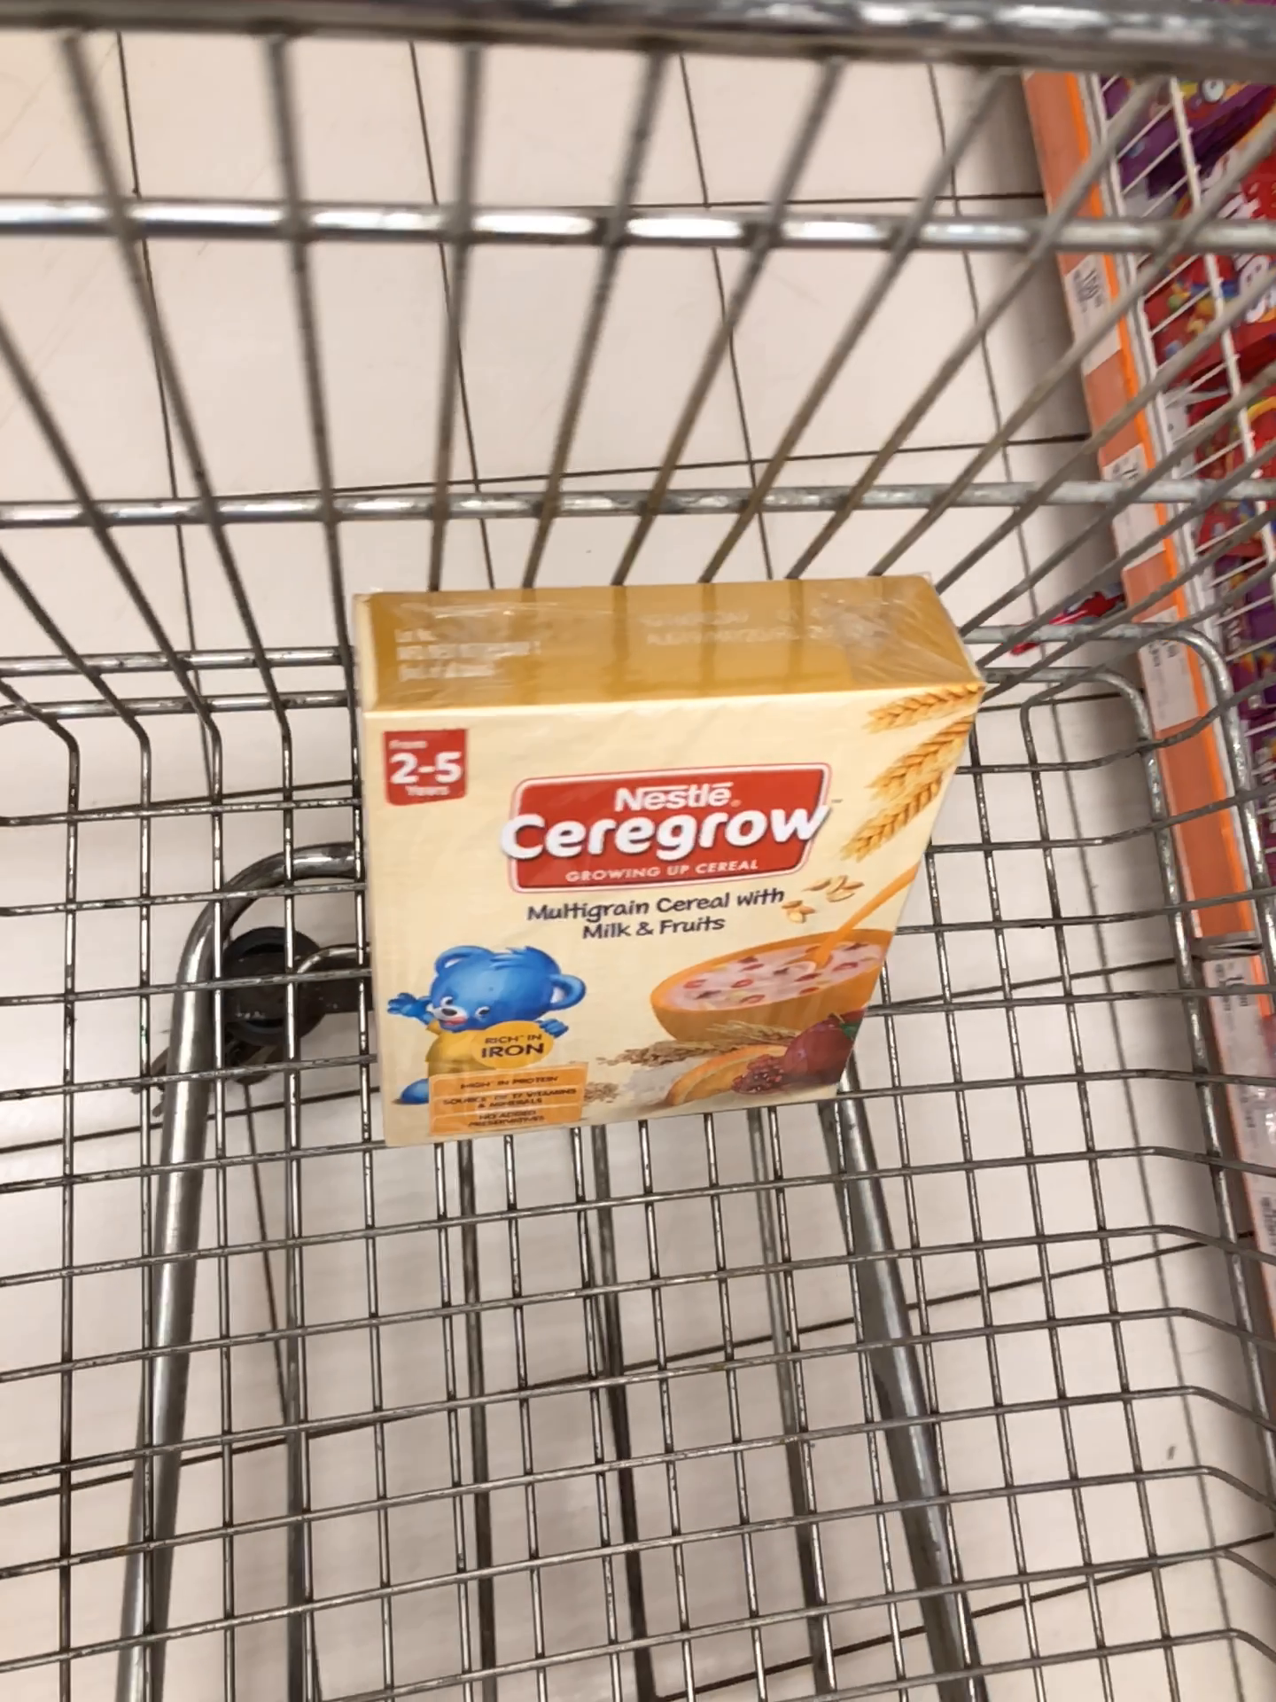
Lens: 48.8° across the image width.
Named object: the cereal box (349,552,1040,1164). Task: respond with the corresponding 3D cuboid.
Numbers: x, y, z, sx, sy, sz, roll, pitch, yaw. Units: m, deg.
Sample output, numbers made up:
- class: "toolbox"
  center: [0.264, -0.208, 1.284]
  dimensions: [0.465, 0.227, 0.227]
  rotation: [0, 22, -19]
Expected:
- class: "cereal box"
  center: [0.004, 0.010, 0.406]
  dimensions: [0.160, 0.189, 0.050]
  rotation: [-4, 48, -12]
